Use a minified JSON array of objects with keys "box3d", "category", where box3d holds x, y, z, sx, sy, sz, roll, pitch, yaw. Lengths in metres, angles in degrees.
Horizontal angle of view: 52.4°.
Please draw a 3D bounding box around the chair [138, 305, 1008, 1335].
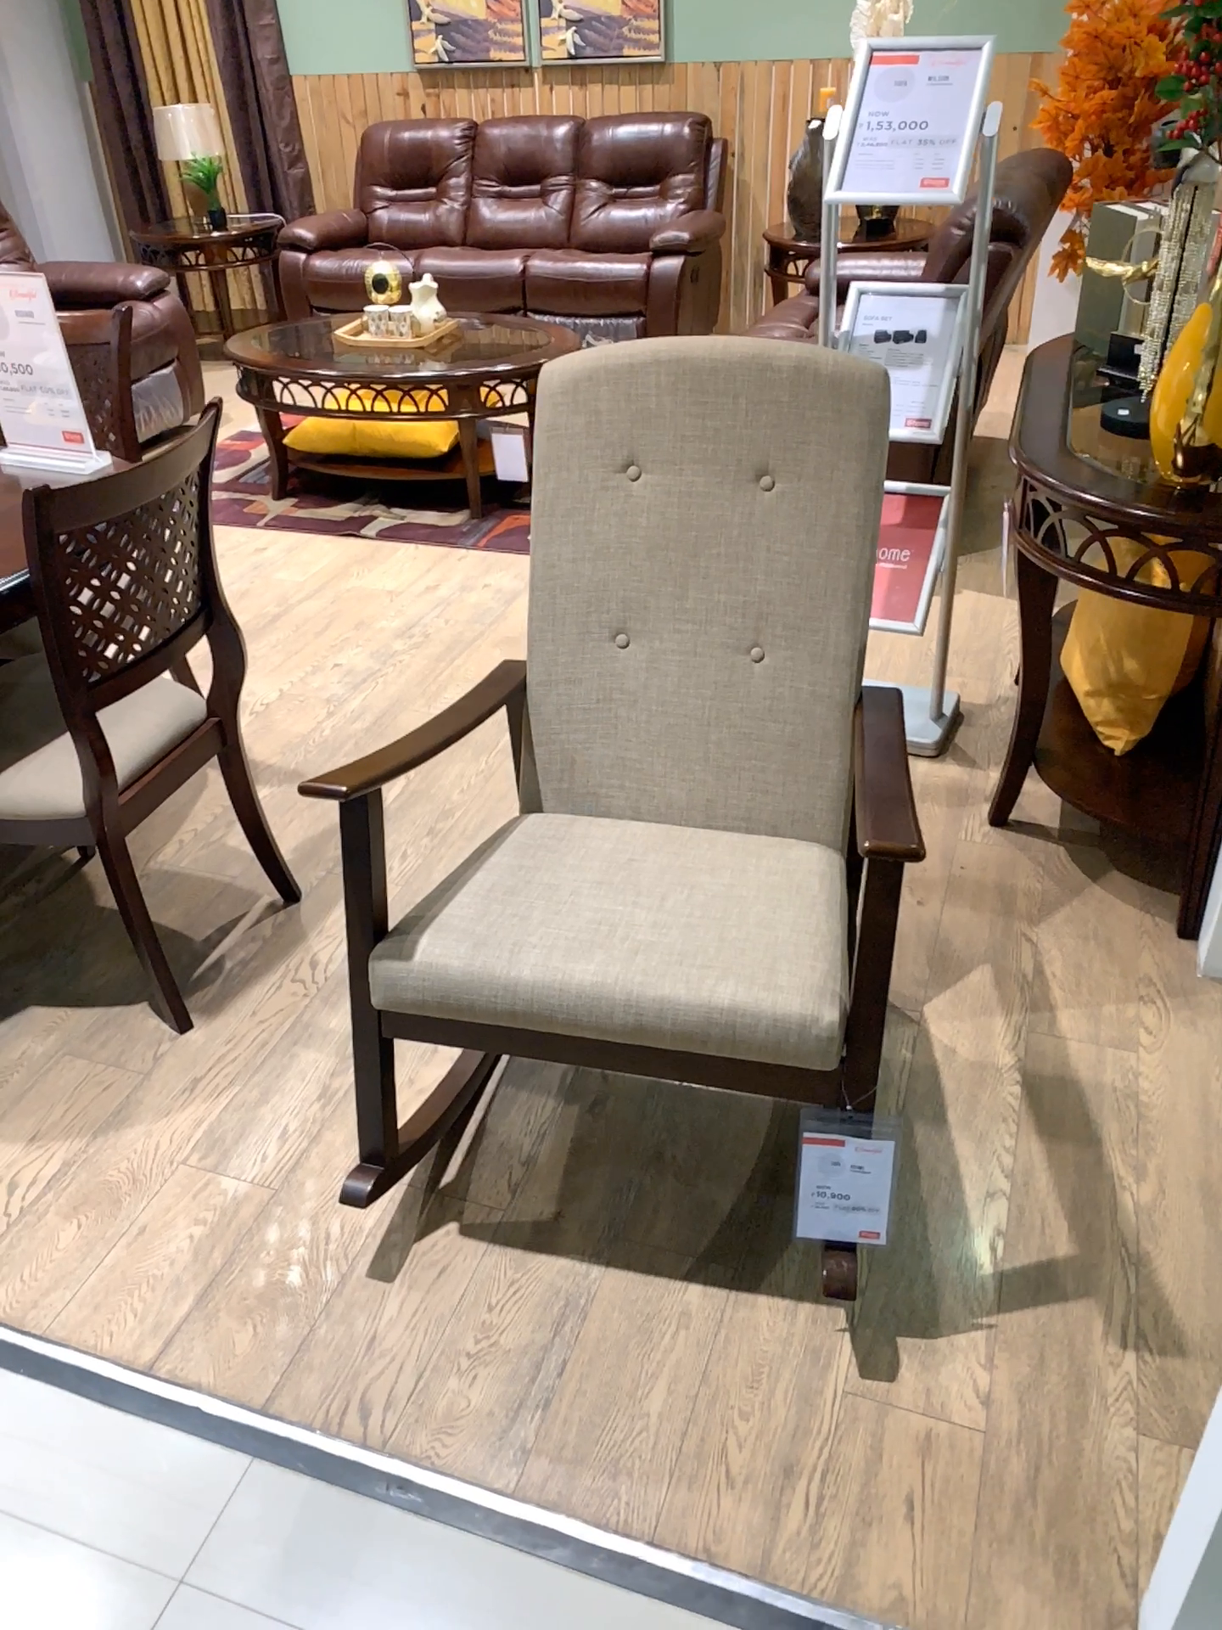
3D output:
[{"box3d":[0.056,-0.058,1.616,0.730,0.976,0.843,5,34,12],"category":"chair"}]
